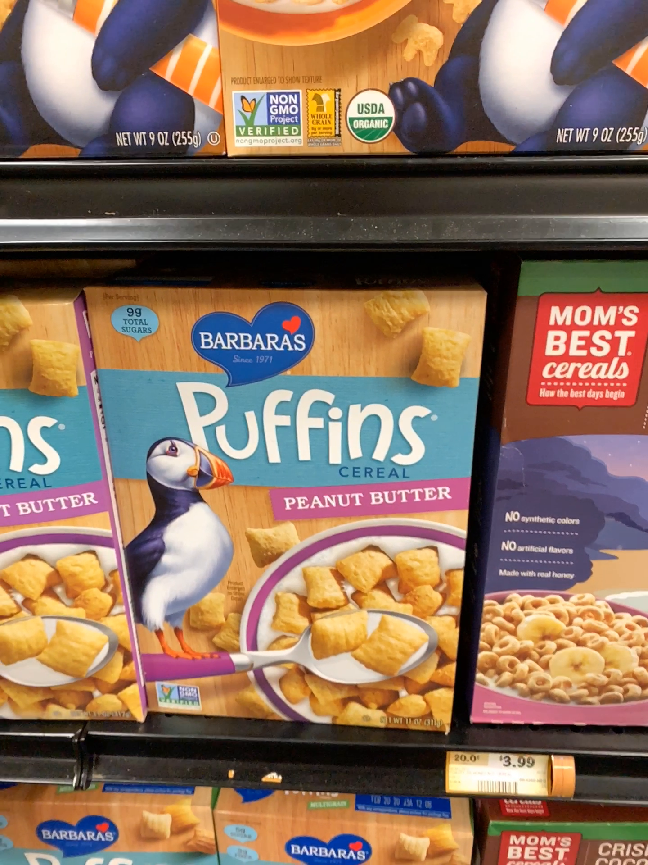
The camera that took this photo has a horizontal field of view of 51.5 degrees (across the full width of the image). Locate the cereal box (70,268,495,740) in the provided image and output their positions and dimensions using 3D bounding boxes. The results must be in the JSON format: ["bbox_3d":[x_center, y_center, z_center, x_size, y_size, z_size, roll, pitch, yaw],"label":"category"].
[{"bbox_3d":[-0.018,0.042,0.390,0.200,0.259,0.070,2,20,5],"label":"cereal box"}]
